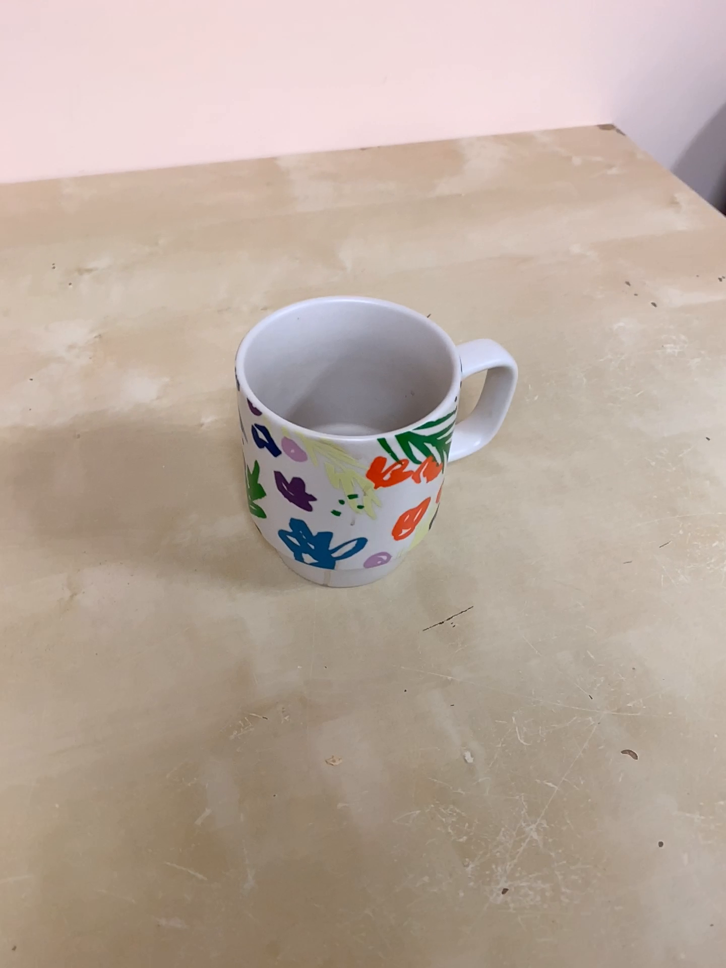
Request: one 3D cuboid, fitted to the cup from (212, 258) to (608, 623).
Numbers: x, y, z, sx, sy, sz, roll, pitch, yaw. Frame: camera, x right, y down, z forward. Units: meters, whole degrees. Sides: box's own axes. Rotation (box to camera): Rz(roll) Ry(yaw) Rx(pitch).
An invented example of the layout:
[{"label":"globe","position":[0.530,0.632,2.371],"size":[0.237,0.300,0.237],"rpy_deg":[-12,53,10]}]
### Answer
[{"label":"cup","position":[0.015,-0.021,0.318],"size":[0.128,0.095,0.082],"rpy_deg":[-18,52,-20]}]
